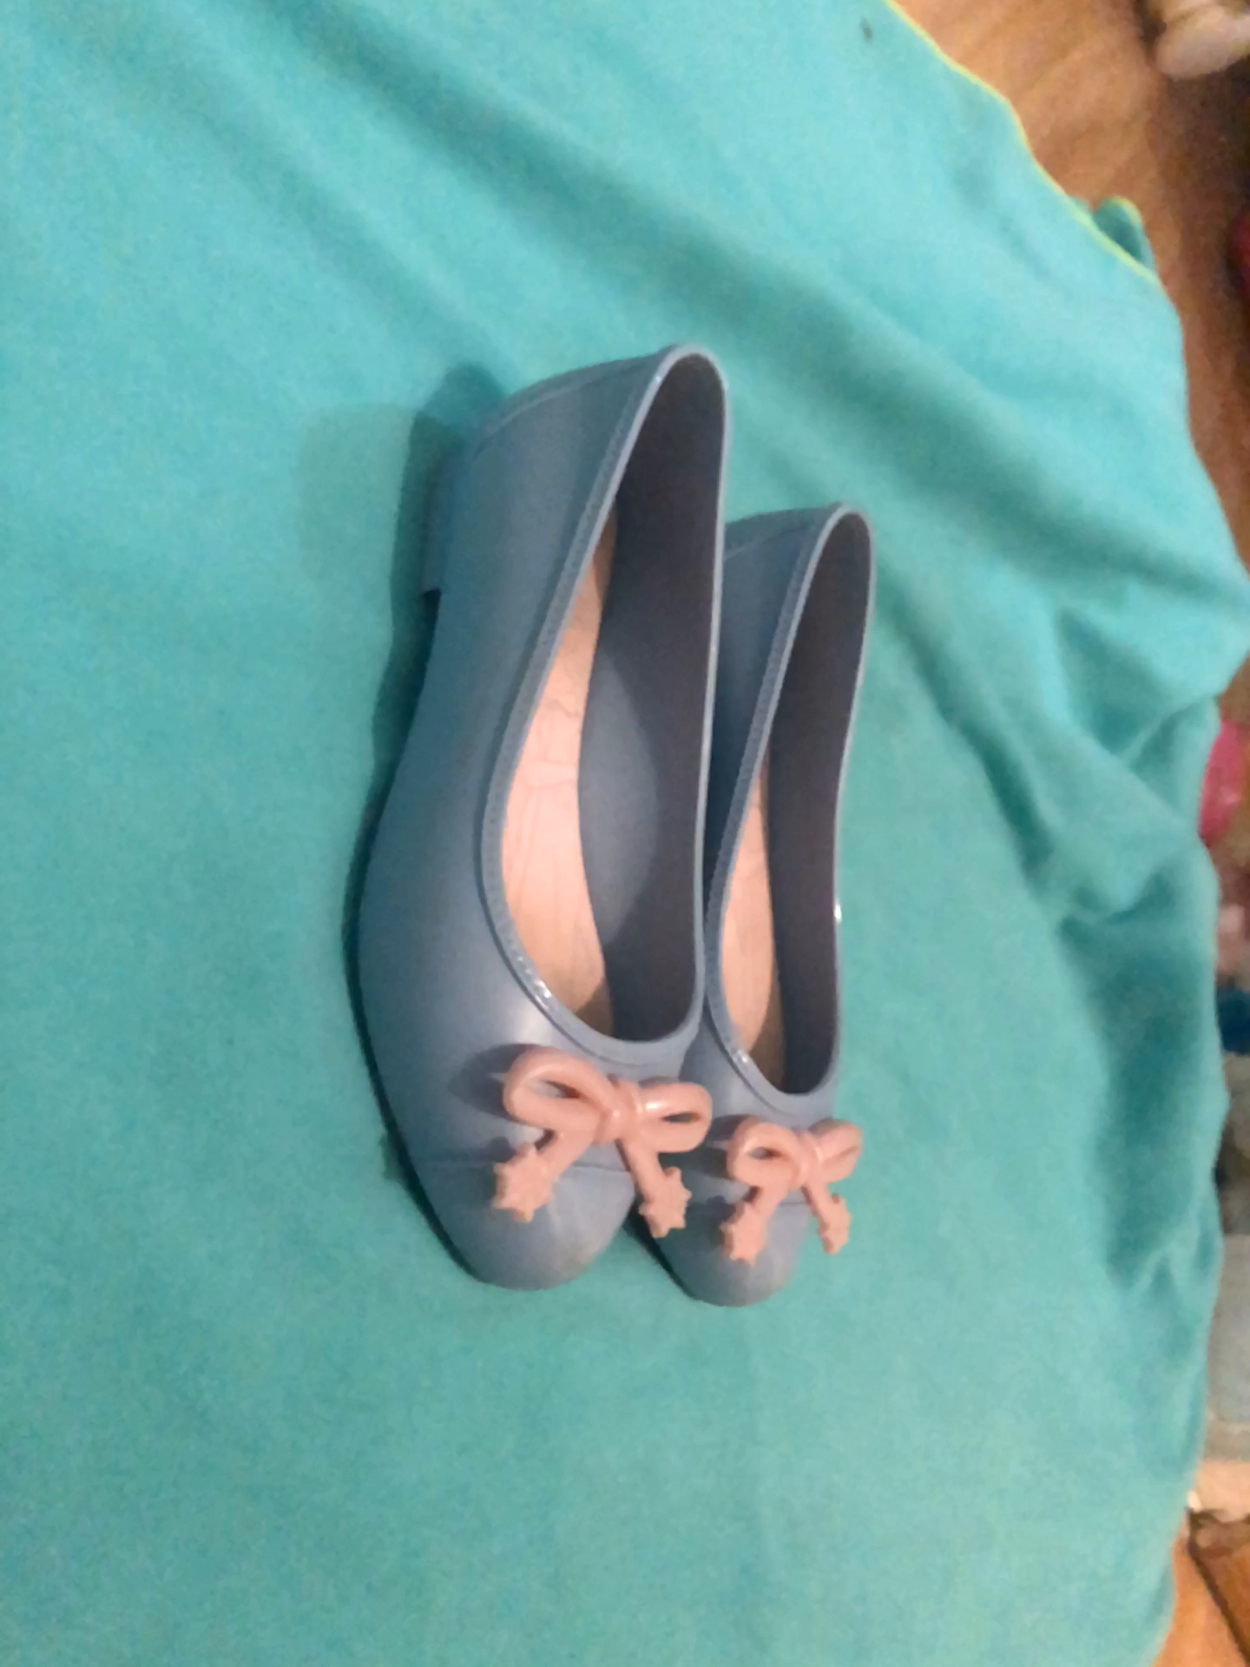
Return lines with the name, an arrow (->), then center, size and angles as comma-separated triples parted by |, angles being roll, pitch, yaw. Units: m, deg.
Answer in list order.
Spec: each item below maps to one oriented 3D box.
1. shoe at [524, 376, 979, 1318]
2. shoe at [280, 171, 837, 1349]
shoe -> 0.028, 0.006, 0.323 | 0.081, 0.060, 0.190 | 14, 70, -51
shoe -> -0.013, -0.009, 0.265 | 0.081, 0.060, 0.190 | 14, 70, -51
